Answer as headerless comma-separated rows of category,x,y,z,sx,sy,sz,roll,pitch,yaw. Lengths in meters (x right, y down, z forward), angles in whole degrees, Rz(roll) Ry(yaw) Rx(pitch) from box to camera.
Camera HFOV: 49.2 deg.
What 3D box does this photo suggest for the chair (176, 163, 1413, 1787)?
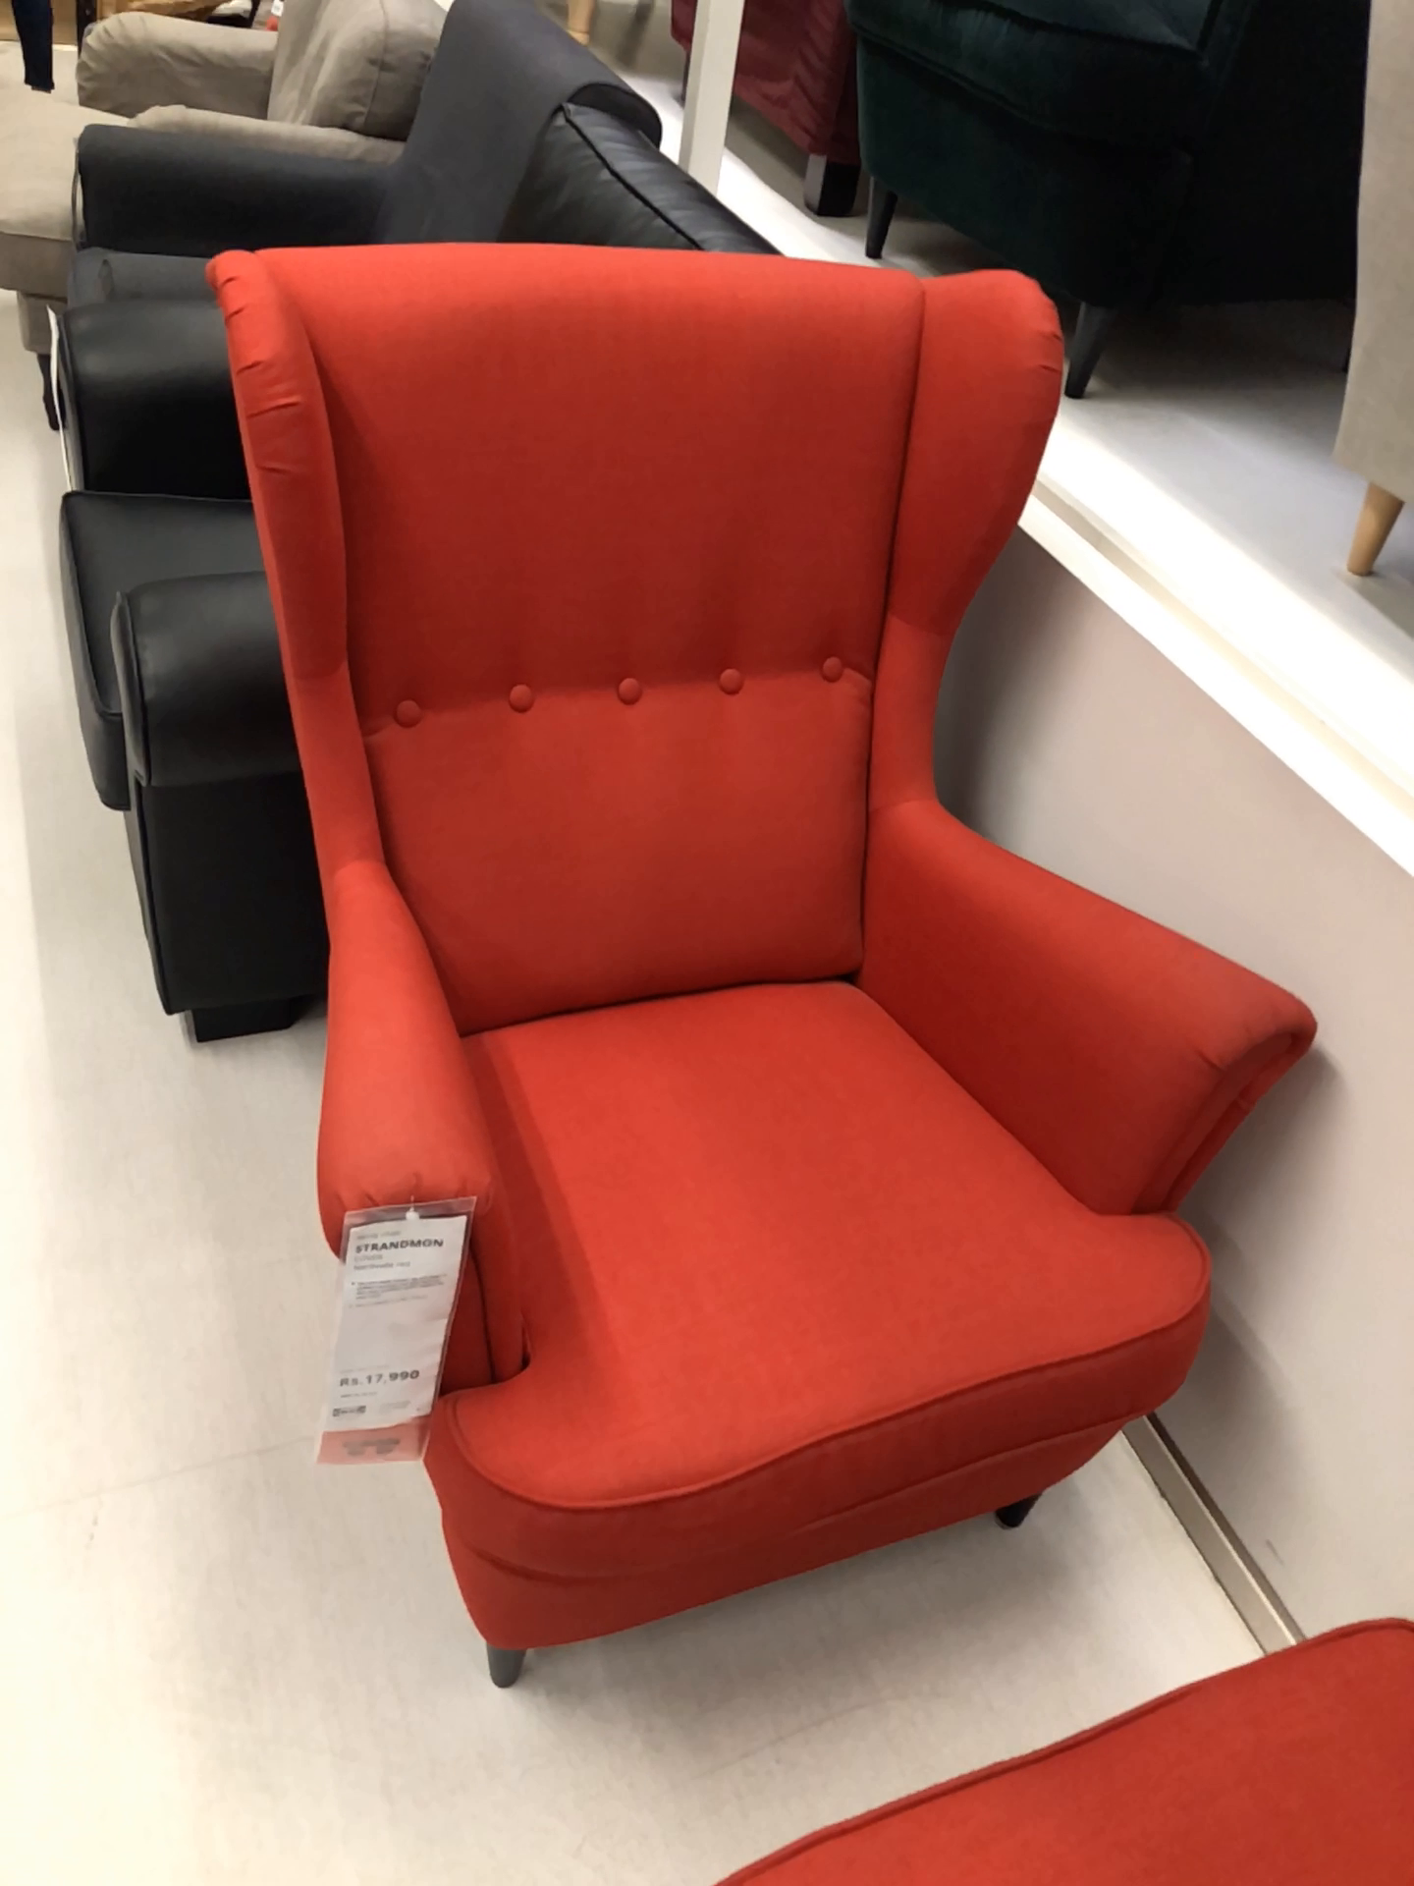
chair,0.087,-0.028,1.386,0.901,0.973,0.845,-8,43,-22
